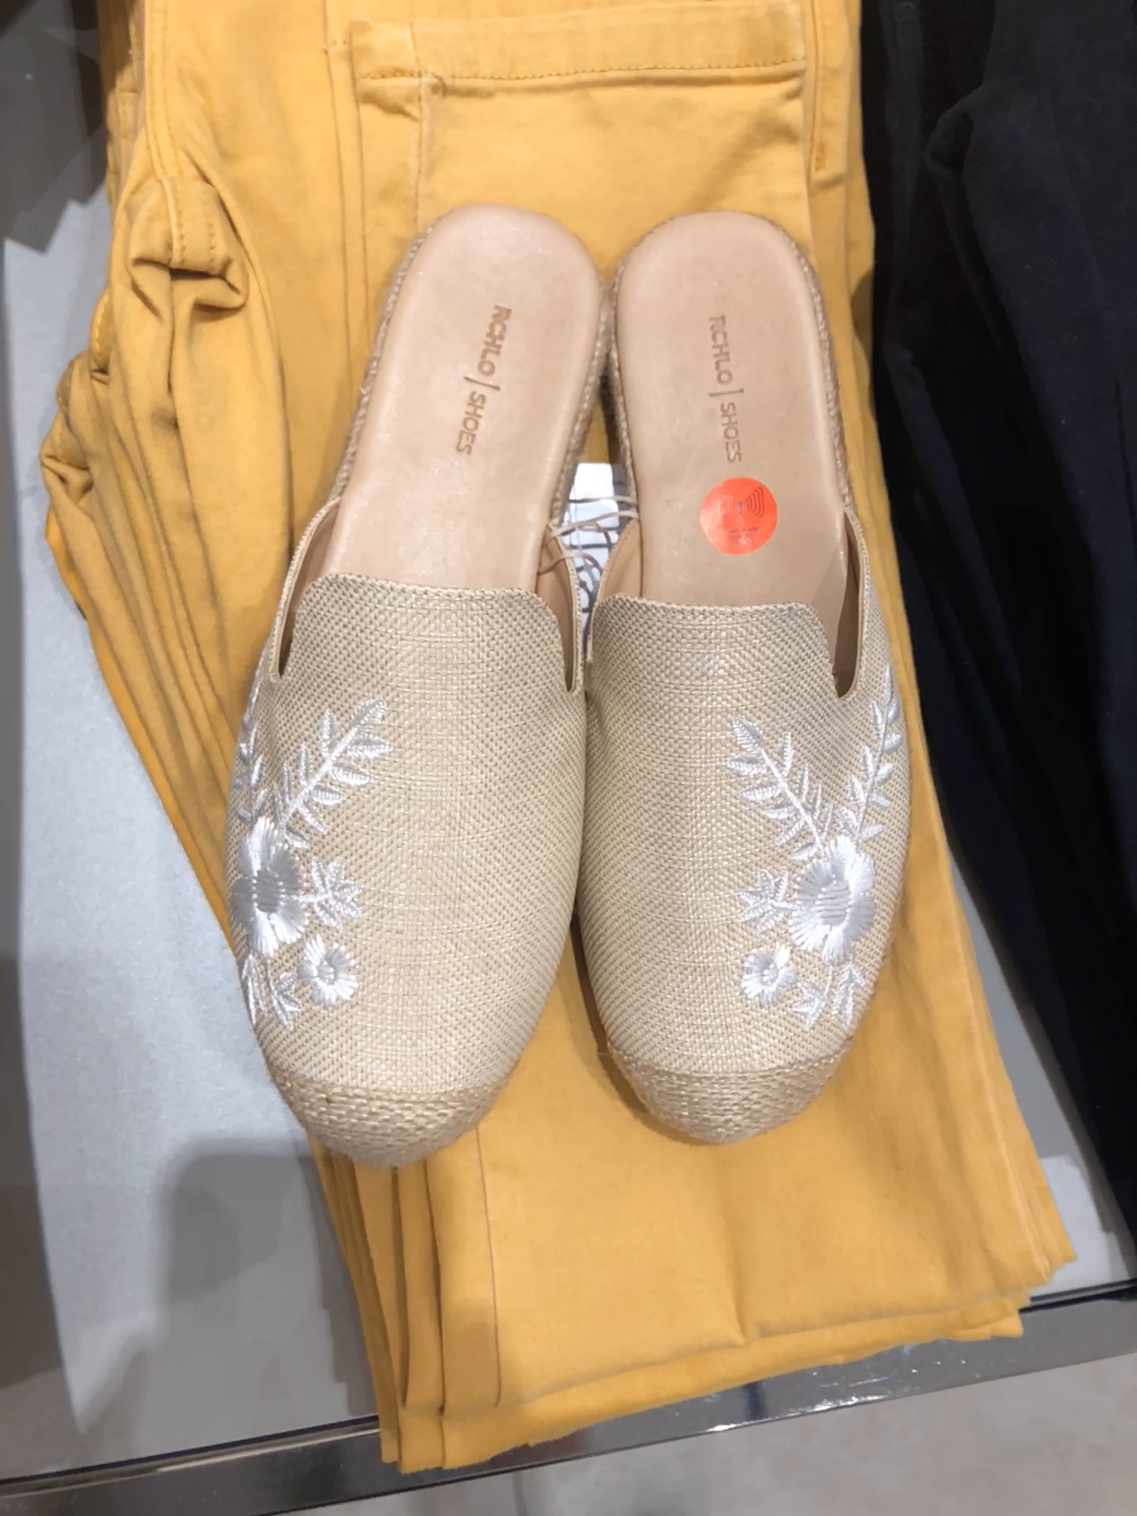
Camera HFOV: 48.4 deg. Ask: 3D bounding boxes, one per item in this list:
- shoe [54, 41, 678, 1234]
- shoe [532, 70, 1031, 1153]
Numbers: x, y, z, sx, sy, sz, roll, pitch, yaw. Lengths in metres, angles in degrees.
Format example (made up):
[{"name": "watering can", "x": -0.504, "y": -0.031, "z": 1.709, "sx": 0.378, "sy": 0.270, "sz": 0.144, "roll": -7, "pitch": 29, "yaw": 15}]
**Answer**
[{"name": "shoe", "x": -0.037, "y": -0.028, "z": 0.291, "sx": 0.090, "sy": 0.070, "sz": 0.240, "roll": 8, "pitch": 79, "yaw": -3}, {"name": "shoe", "x": 0.042, "y": -0.036, "z": 0.309, "sx": 0.090, "sy": 0.070, "sz": 0.240, "roll": -2, "pitch": 81, "yaw": -4}]
